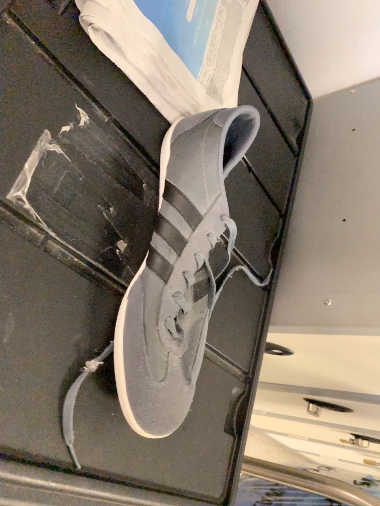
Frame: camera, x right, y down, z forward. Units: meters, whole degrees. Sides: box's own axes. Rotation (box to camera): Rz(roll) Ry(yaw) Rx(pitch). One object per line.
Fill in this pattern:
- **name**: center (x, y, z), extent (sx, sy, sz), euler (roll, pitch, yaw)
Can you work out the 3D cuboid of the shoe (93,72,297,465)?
- **shoe**: center (0.020, 0.010, 0.317), extent (0.114, 0.077, 0.268), euler (30, 62, -46)
